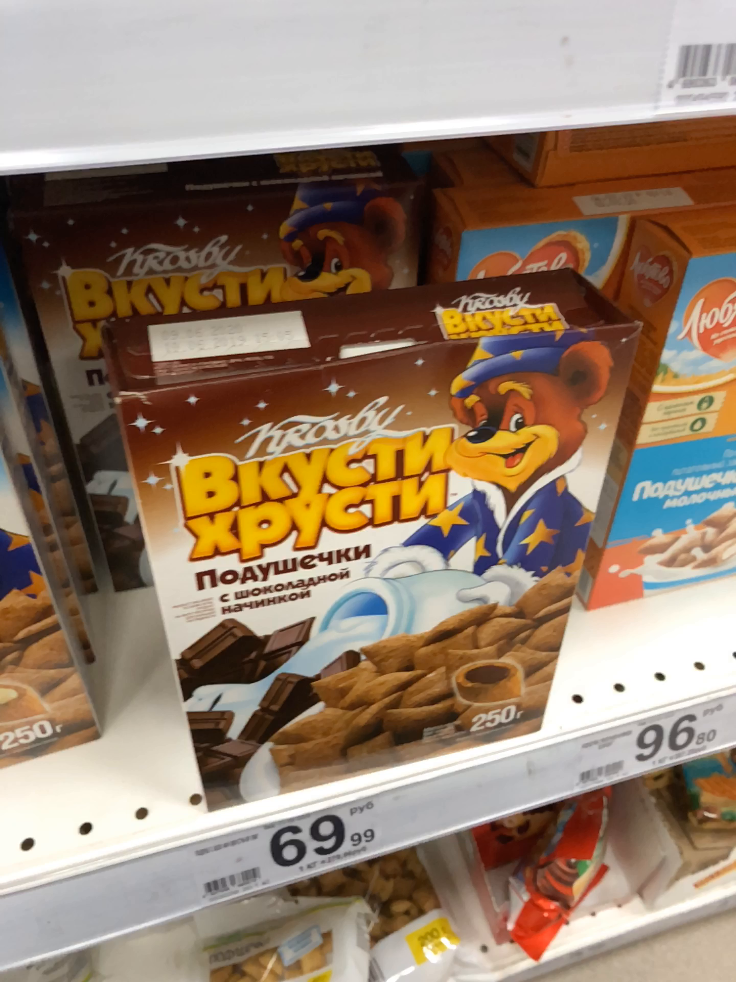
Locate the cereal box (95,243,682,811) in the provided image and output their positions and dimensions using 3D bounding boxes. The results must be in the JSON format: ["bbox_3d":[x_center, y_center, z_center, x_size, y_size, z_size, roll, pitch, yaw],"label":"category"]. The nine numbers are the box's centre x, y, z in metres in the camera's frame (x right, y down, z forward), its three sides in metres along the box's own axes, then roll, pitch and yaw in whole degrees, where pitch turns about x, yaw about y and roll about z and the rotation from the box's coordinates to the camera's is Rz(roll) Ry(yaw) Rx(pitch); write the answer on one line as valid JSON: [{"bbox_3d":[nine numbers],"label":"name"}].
[{"bbox_3d":[0.005,0.027,0.334,0.180,0.229,0.050,-9,41,-13],"label":"cereal box"}]
